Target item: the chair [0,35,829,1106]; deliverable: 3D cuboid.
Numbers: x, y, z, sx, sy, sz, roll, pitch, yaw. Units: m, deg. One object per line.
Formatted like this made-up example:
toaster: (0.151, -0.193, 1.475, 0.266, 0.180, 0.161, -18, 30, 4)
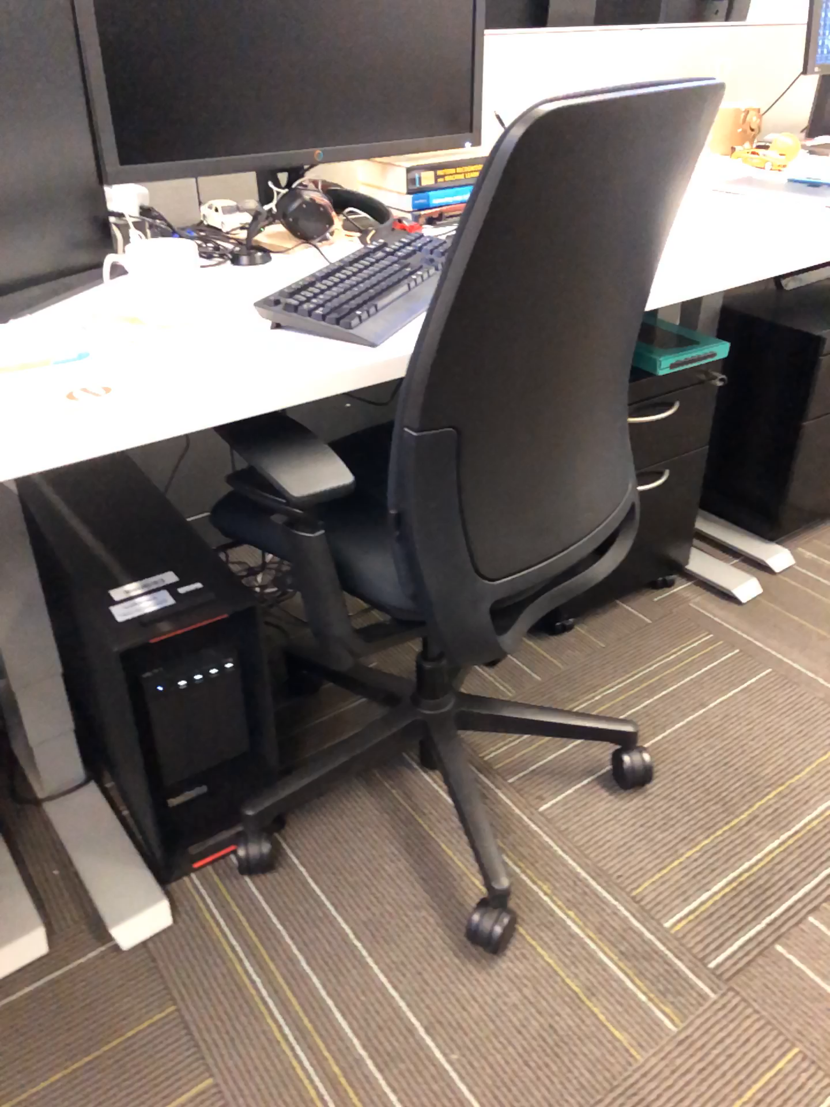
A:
chair: (0.070, -0.064, 1.160, 0.782, 1.014, 0.662, -21, 37, -31)
